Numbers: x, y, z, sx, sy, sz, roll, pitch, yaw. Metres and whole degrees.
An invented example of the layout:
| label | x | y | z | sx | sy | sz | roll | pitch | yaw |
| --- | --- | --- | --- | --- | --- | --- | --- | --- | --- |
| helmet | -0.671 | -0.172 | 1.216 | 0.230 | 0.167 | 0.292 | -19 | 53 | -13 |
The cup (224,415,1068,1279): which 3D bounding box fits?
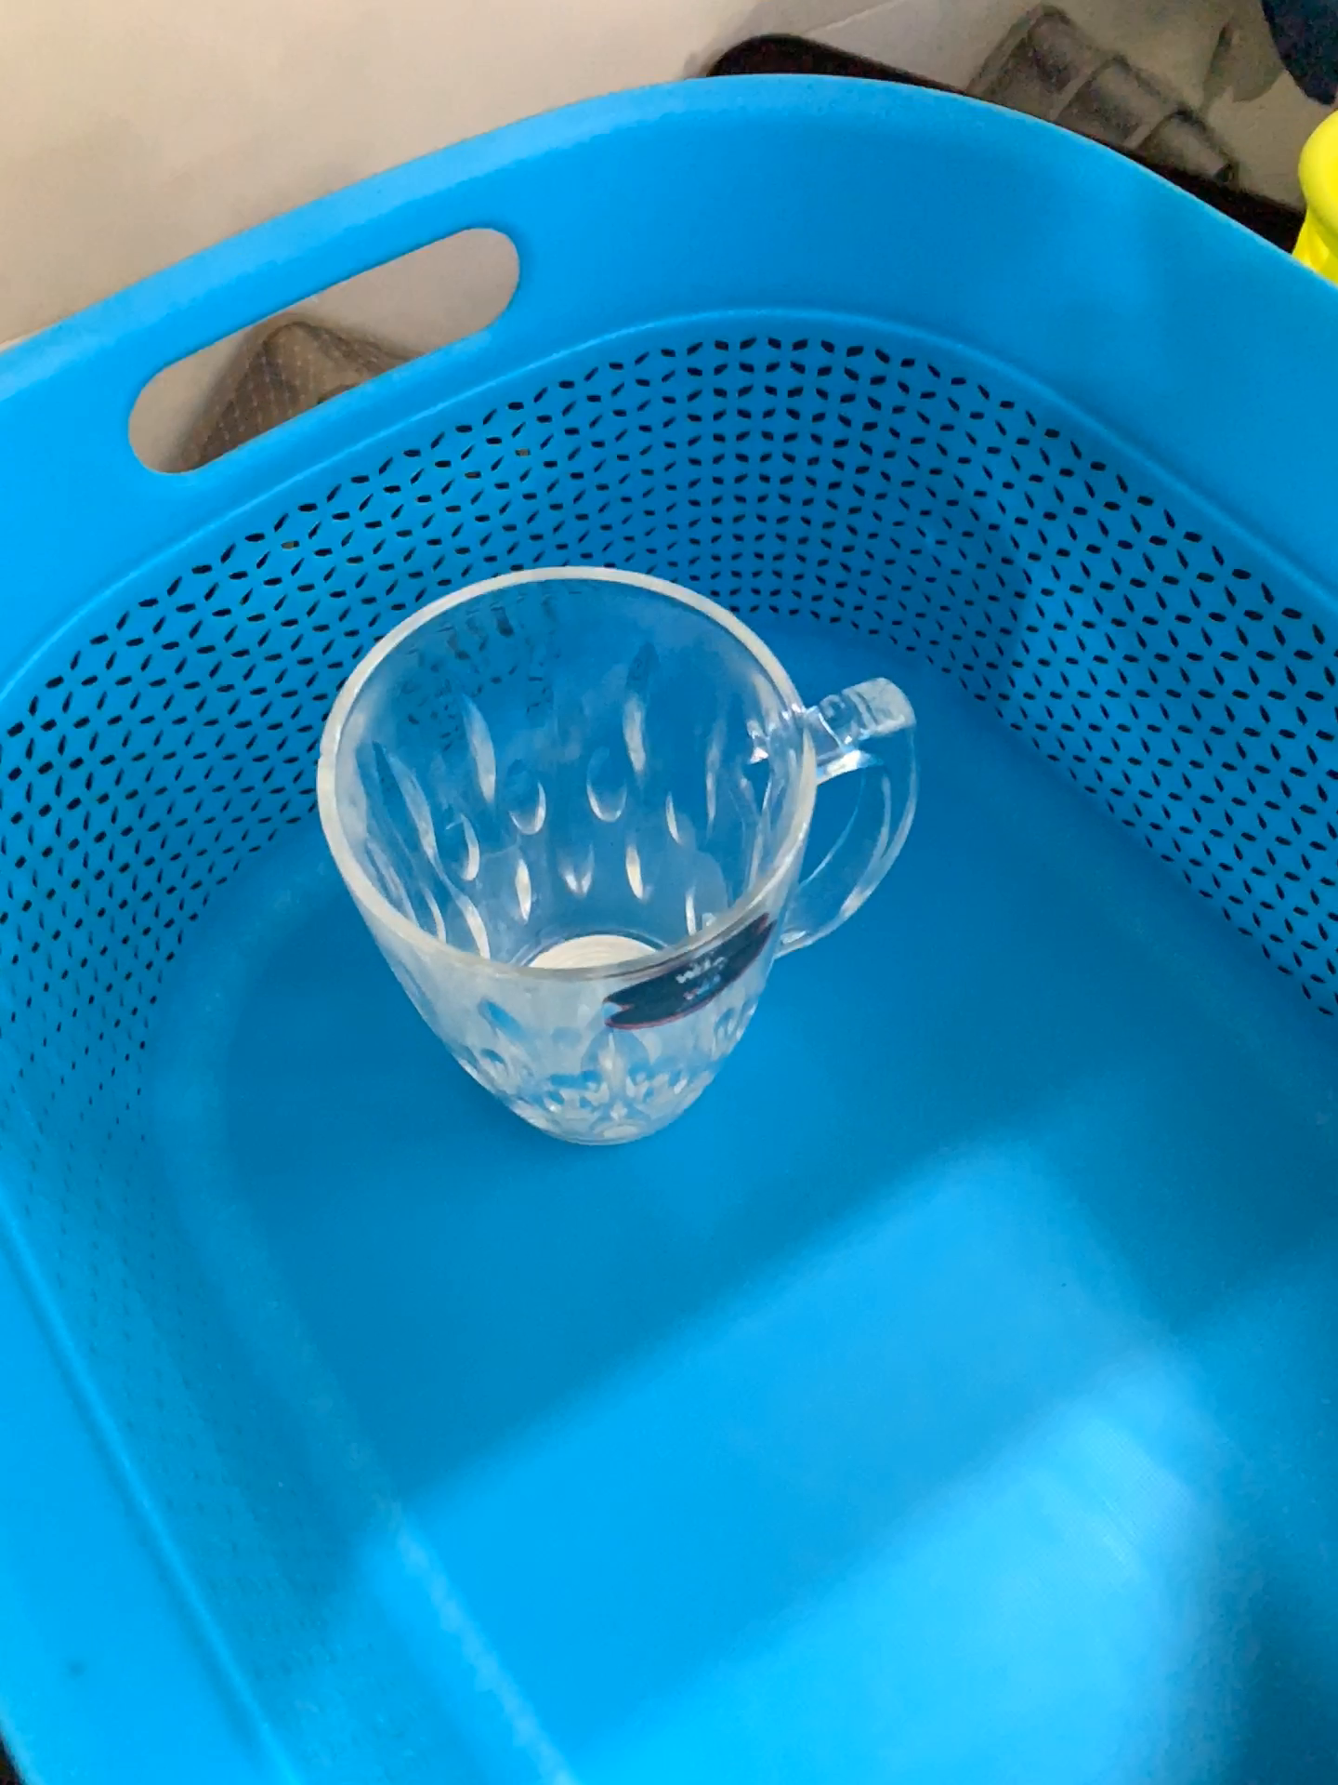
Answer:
| label | x | y | z | sx | sy | sz | roll | pitch | yaw |
| --- | --- | --- | --- | --- | --- | --- | --- | --- | --- |
| cup | -0.003 | -0.002 | 0.270 | 0.110 | 0.117 | 0.078 | -34 | 67 | -16 |
